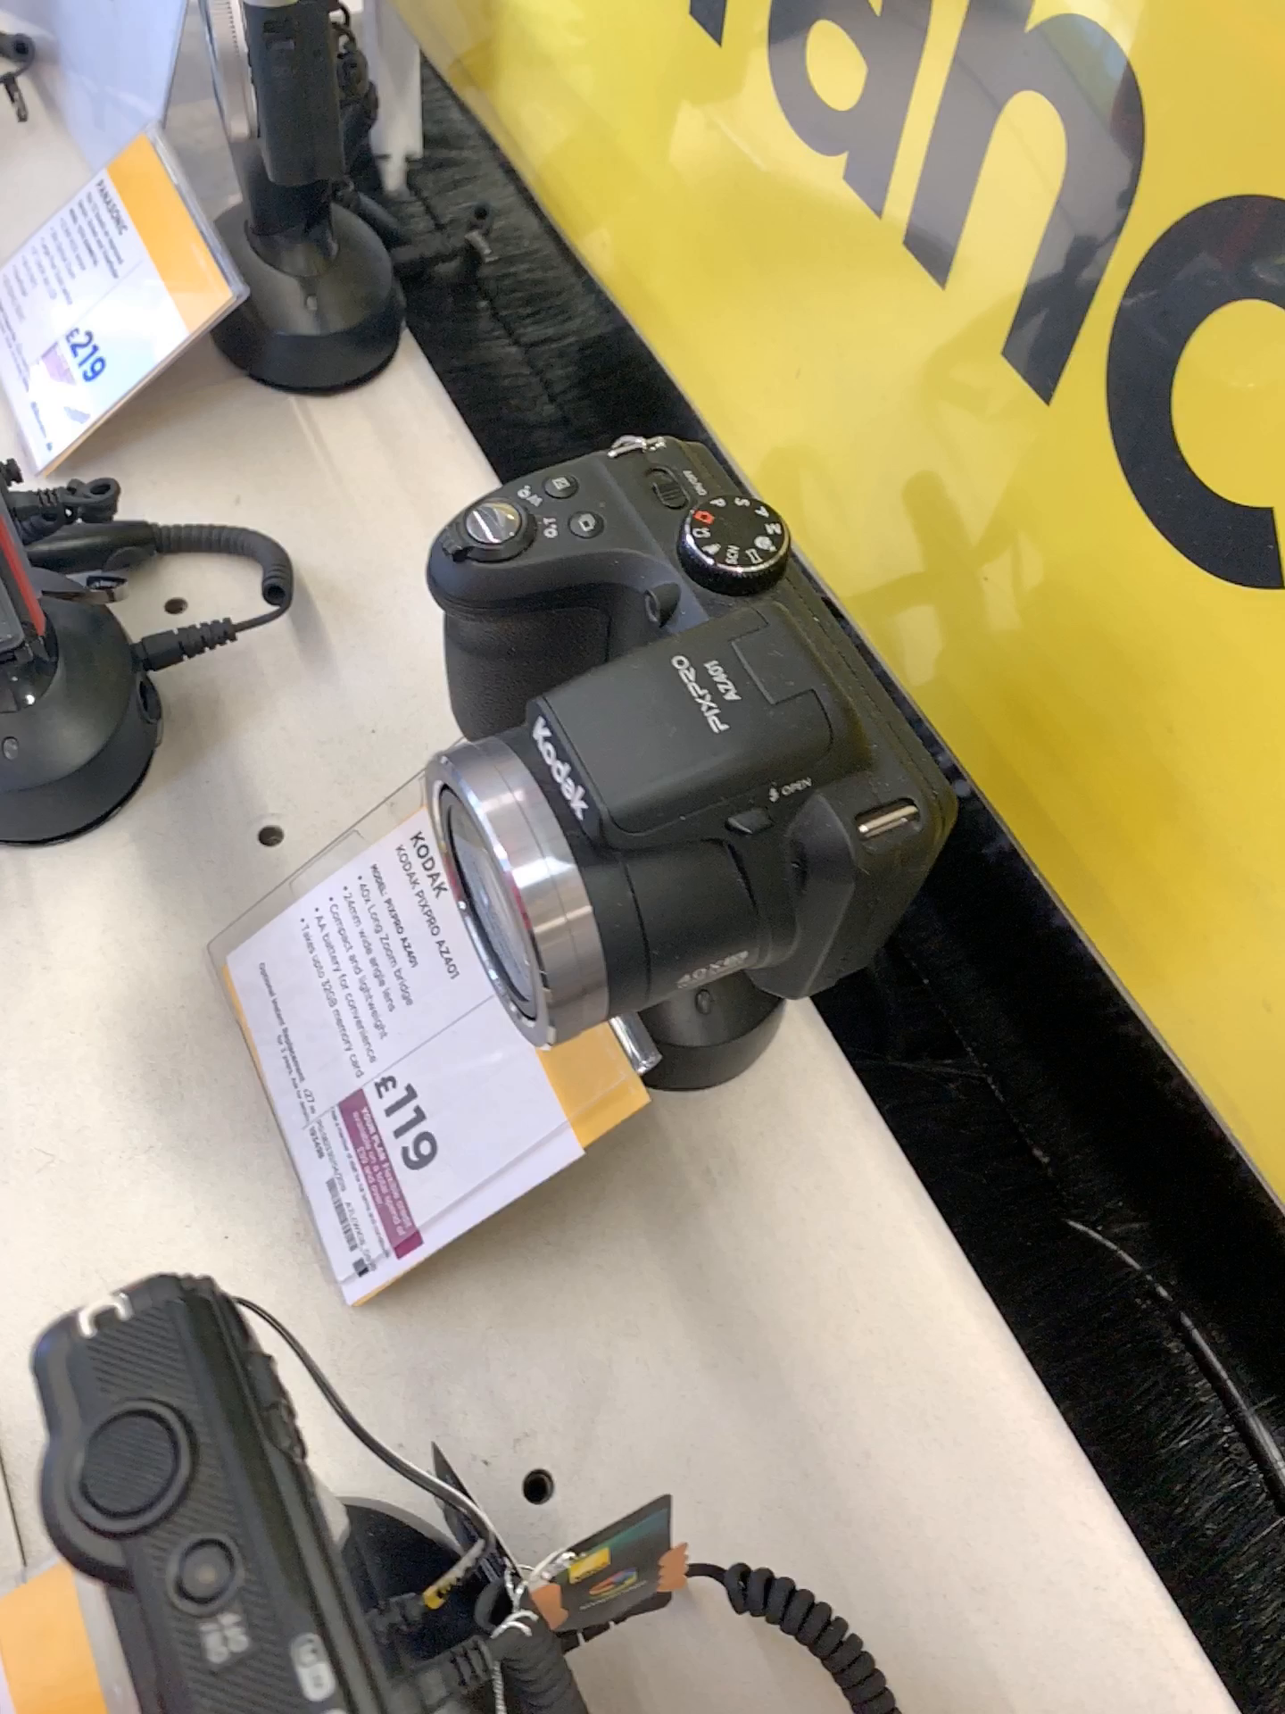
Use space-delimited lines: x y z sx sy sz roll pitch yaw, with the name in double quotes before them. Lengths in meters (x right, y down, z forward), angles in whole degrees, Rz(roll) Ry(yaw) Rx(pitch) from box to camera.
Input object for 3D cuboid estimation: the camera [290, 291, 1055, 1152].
"camera" -0.003 -0.029 0.285 0.090 0.099 0.131 -22 62 -18
